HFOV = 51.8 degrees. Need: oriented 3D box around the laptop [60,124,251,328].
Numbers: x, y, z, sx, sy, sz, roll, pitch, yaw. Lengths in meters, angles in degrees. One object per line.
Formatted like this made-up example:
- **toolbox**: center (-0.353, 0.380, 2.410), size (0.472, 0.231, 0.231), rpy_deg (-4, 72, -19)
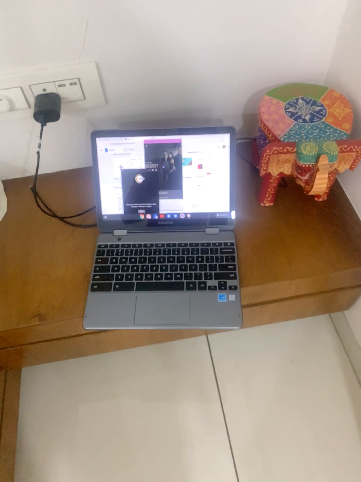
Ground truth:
- **laptop**: center (-0.033, -0.037, 0.774), size (0.314, 0.164, 0.384), rpy_deg (-1, 58, 4)
